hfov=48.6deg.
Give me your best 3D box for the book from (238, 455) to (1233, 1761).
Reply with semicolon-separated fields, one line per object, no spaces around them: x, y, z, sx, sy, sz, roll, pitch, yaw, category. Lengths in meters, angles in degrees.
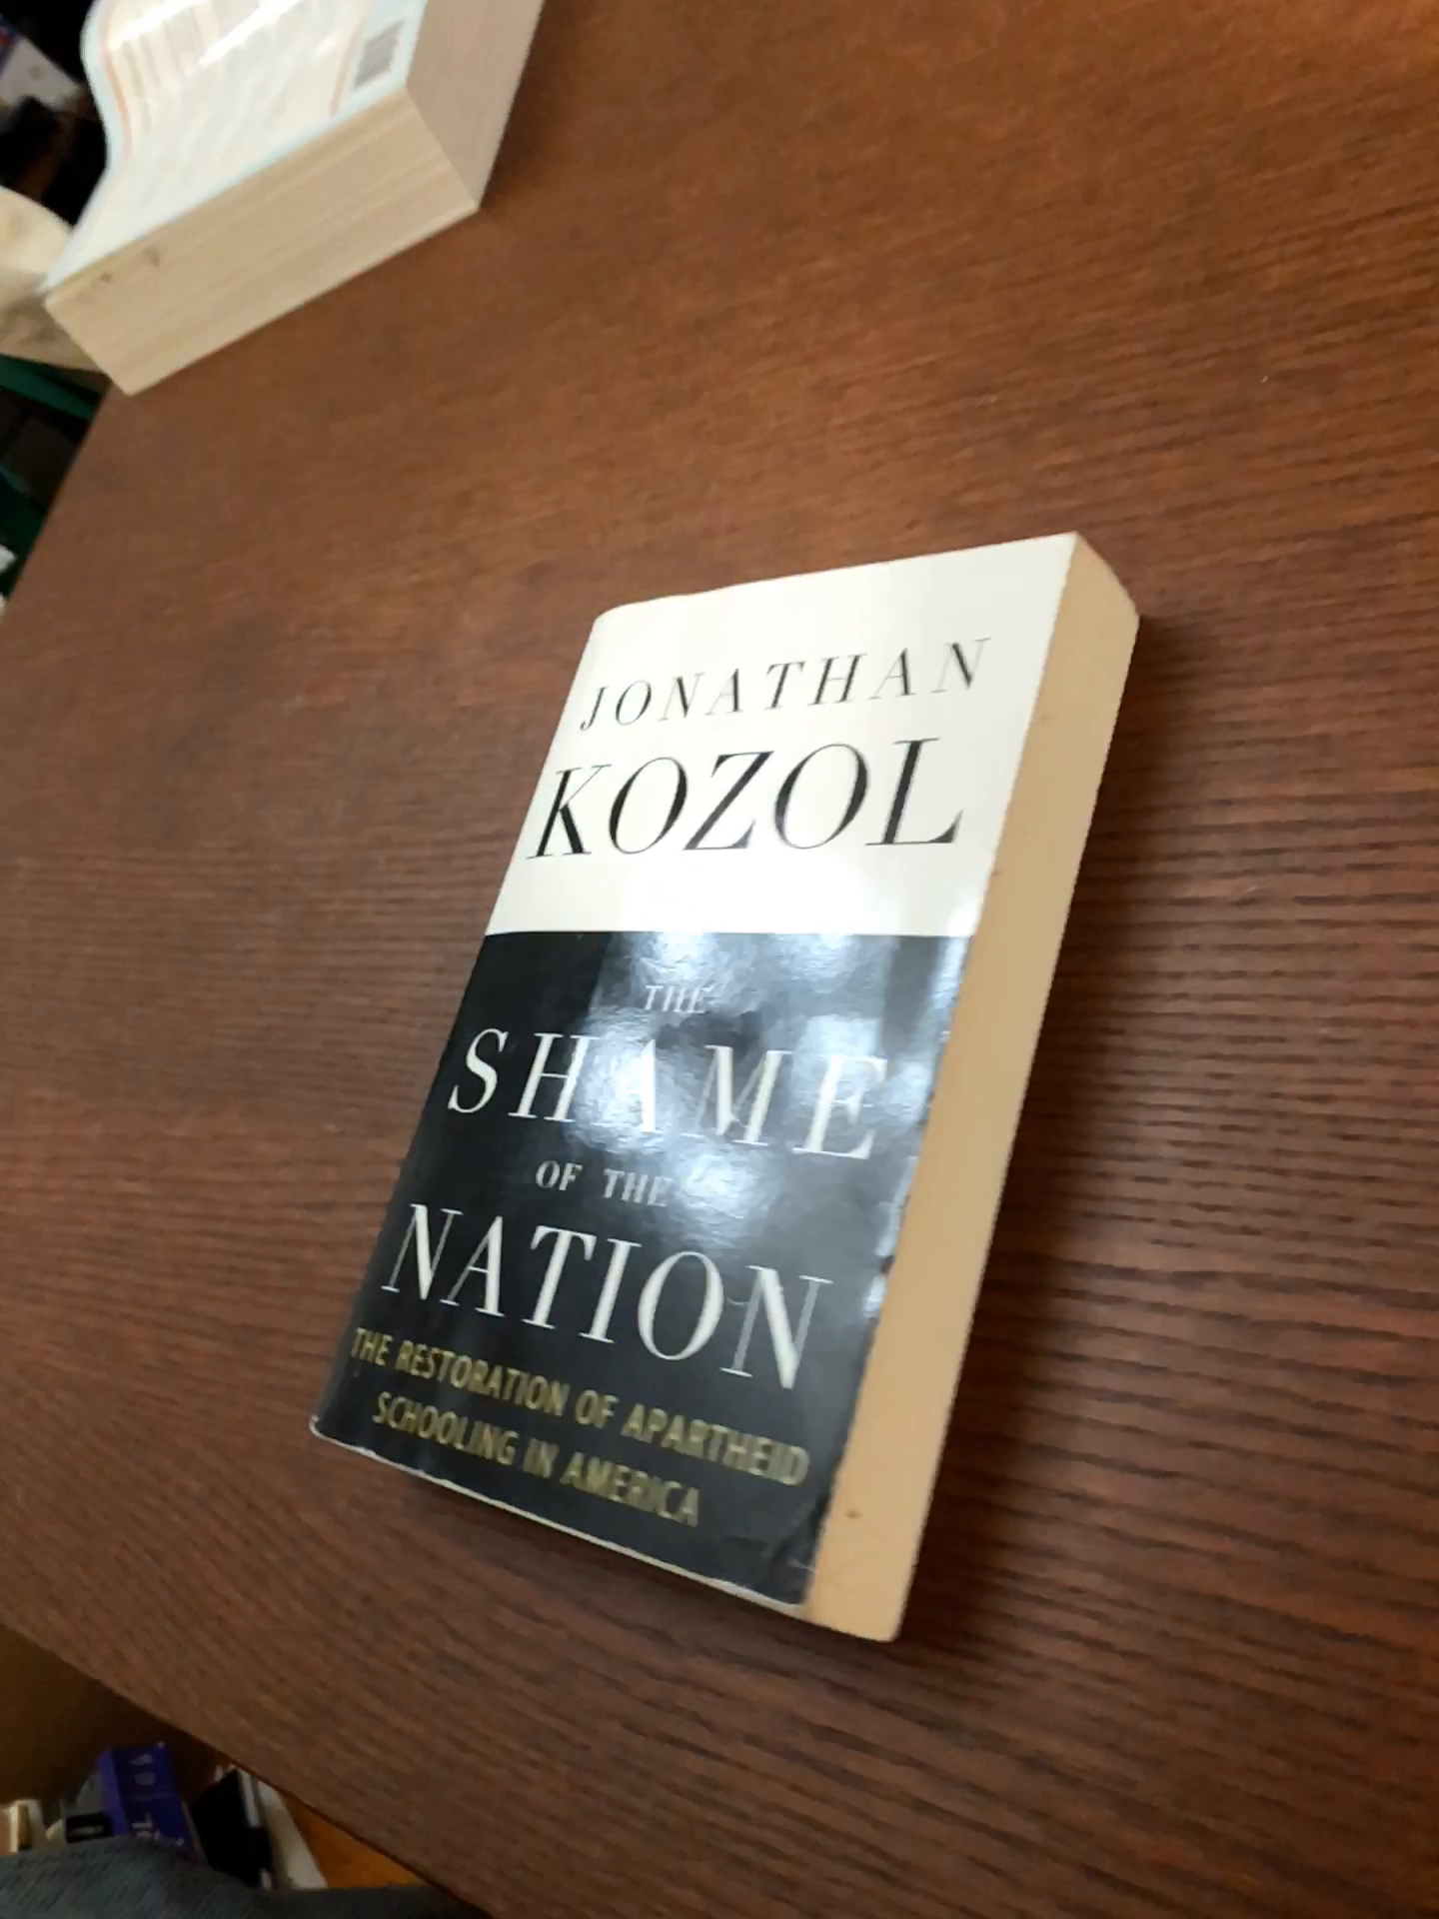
0.000;0.013;0.330;0.161;0.030;0.230;3;68;41;book
